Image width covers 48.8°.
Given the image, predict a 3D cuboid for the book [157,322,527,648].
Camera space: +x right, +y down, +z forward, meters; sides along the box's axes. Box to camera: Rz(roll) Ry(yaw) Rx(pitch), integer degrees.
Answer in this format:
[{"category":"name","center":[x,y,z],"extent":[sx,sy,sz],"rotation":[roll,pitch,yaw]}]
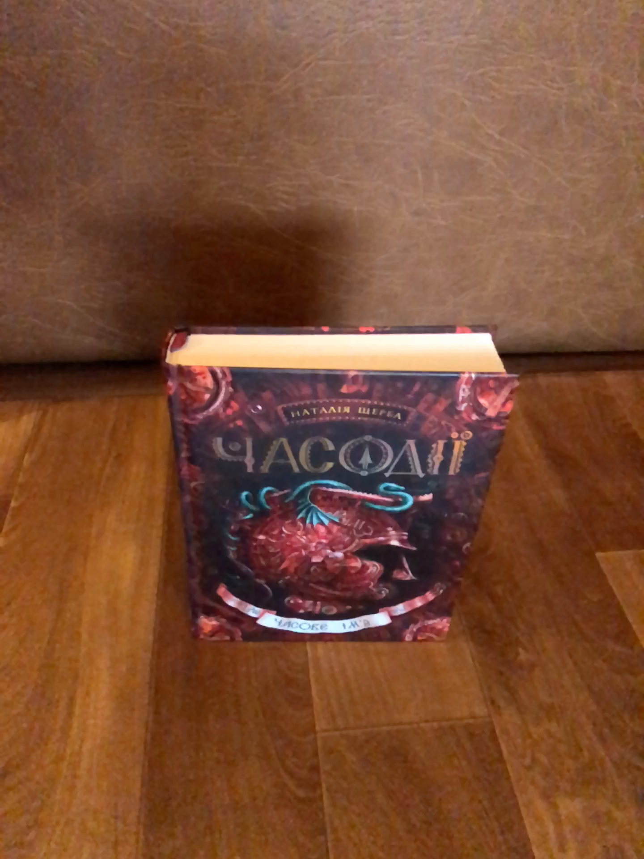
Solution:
[{"category":"book","center":[0.004,0.045,0.411],"extent":[0.170,0.220,0.040],"rotation":[1,40,-4]}]
